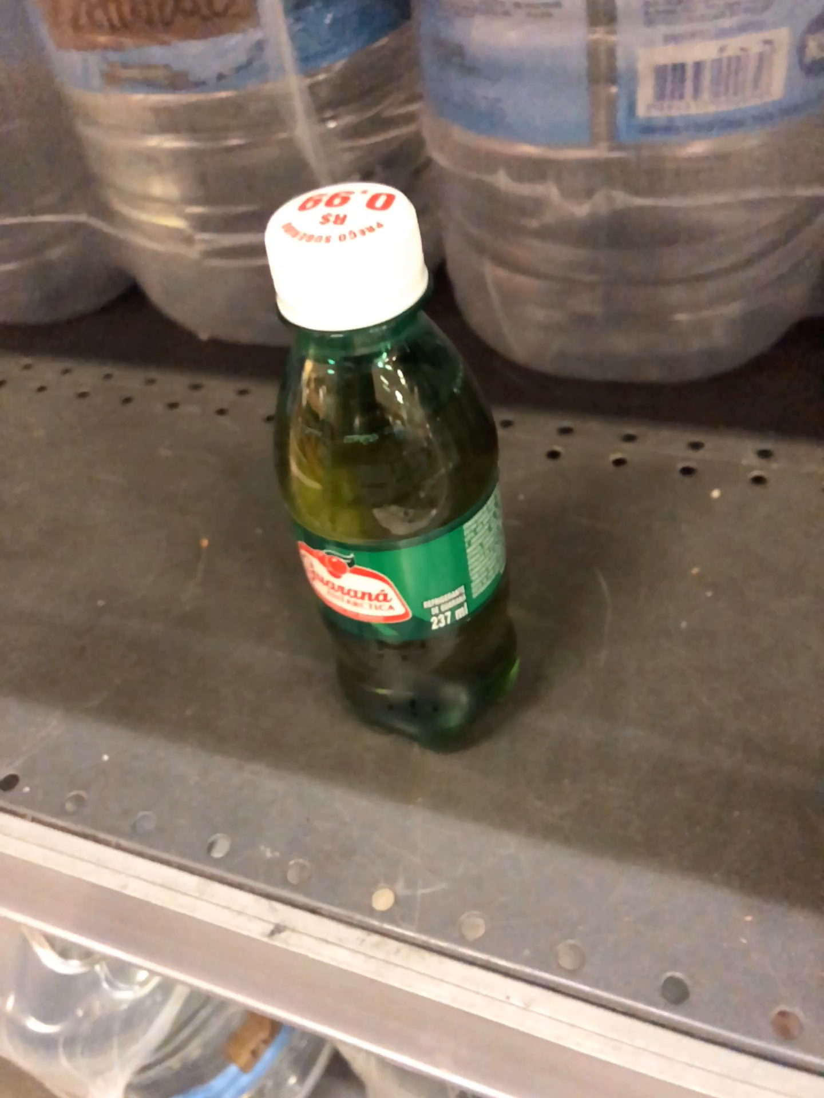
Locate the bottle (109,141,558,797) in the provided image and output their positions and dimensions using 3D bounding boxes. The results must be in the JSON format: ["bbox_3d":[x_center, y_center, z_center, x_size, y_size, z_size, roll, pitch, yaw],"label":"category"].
[{"bbox_3d":[-0.005,-0.011,0.229,0.060,0.149,0.060,-6,46,6],"label":"bottle"}]
